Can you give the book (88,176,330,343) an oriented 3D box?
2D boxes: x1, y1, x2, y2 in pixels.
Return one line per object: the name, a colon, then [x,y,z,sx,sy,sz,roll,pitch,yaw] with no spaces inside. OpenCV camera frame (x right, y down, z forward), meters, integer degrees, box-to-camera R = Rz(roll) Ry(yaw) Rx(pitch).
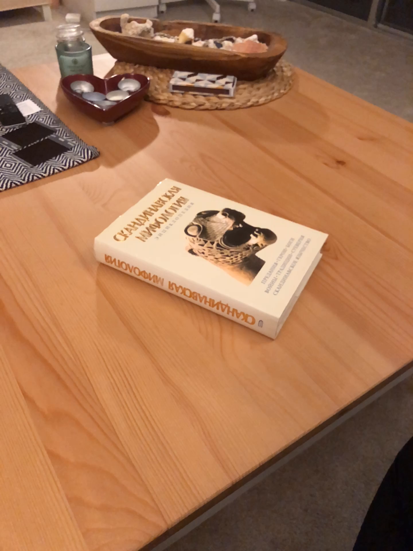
book: [0.006,-0.031,0.503,0.215,0.030,0.151,23,47,19]
